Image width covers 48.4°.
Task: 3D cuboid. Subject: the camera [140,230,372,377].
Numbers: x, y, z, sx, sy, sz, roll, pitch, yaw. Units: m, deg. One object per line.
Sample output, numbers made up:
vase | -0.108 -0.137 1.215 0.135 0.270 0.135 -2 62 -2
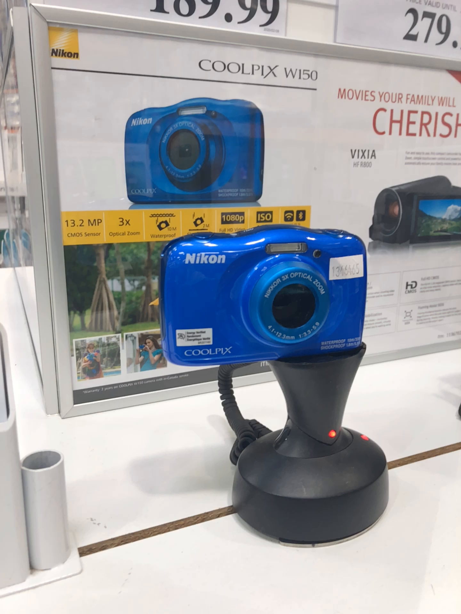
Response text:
camera | 0.013 -0.006 0.265 0.110 0.060 0.040 -5 15 -21
